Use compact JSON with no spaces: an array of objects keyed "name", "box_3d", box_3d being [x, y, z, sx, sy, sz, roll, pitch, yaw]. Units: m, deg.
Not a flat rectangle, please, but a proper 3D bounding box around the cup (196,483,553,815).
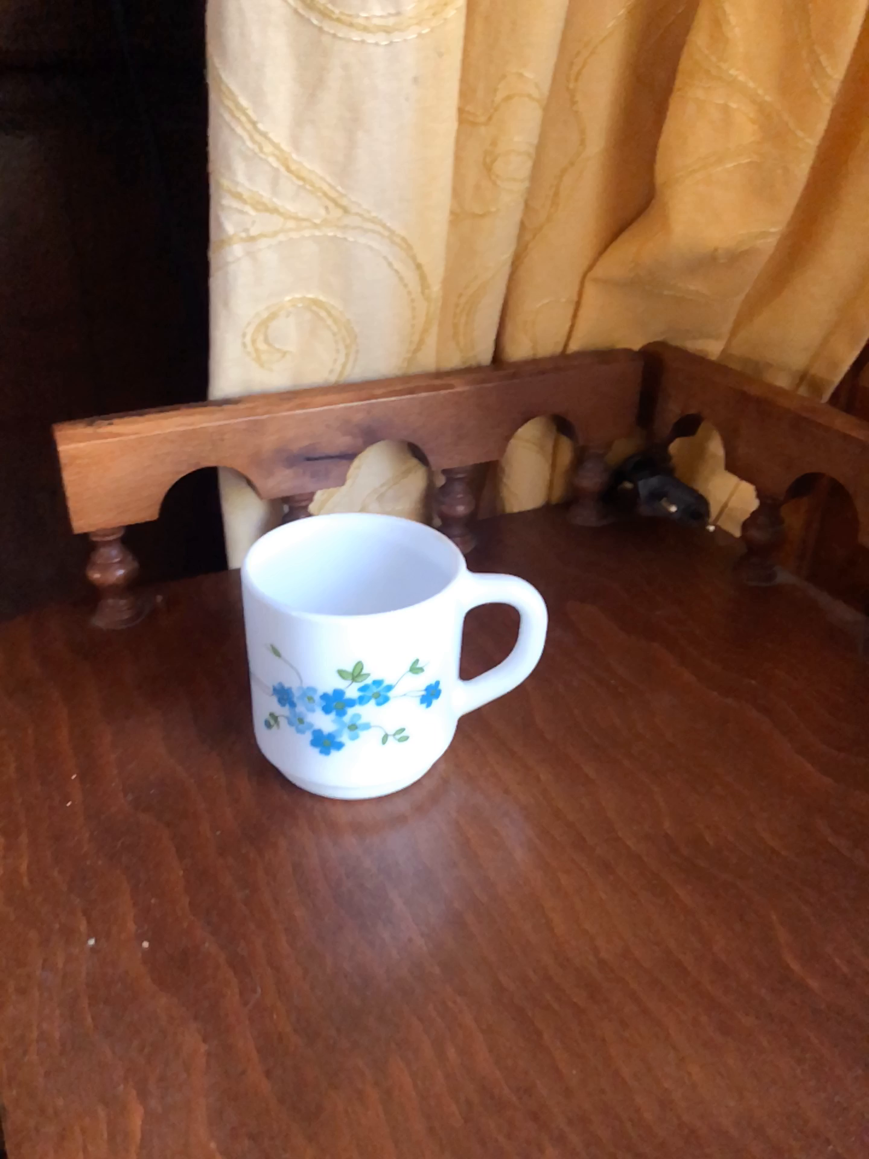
[{"name":"cup","box_3d":[-0.012,0.016,0.255,0.080,0.060,0.060,3,29,3]}]
